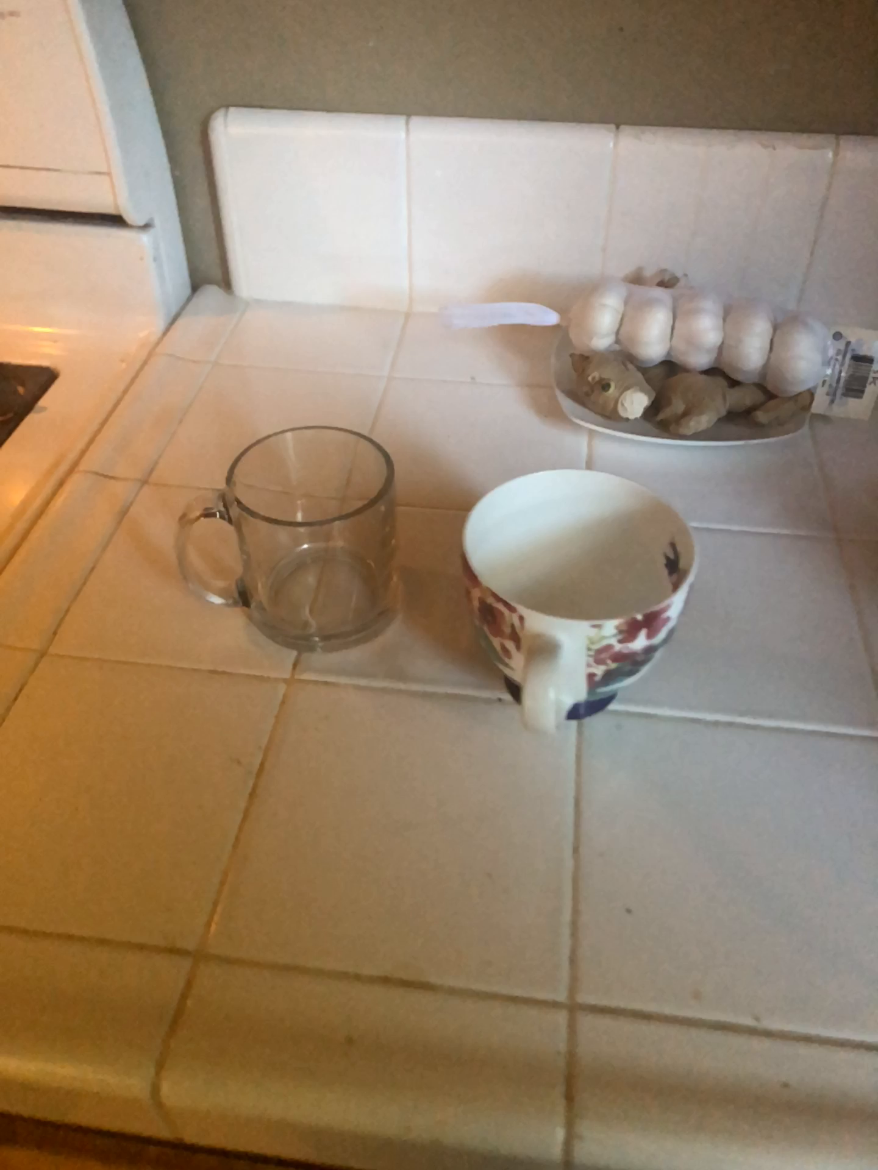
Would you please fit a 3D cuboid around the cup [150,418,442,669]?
[{"bbox_3d":[-0.065,-0.023,0.496,0.130,0.079,0.101,-1,44,-1],"label":"cup"}]

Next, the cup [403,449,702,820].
[{"bbox_3d":[0.056,0.017,0.452,0.110,0.079,0.141,10,44,10],"label":"cup"}]
